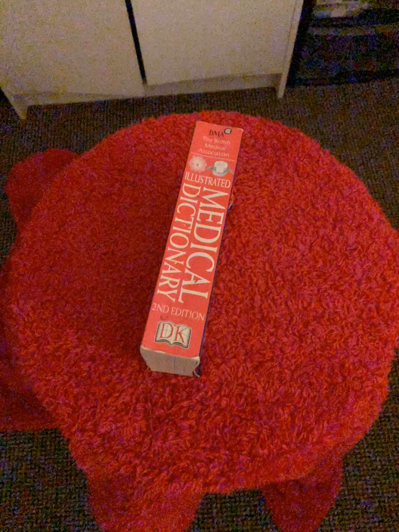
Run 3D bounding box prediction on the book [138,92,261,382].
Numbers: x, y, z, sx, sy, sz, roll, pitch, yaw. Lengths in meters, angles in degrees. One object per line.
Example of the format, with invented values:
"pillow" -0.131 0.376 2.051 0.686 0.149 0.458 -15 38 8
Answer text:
"book" 0.002 -0.019 0.368 0.050 0.129 0.221 12 69 1
